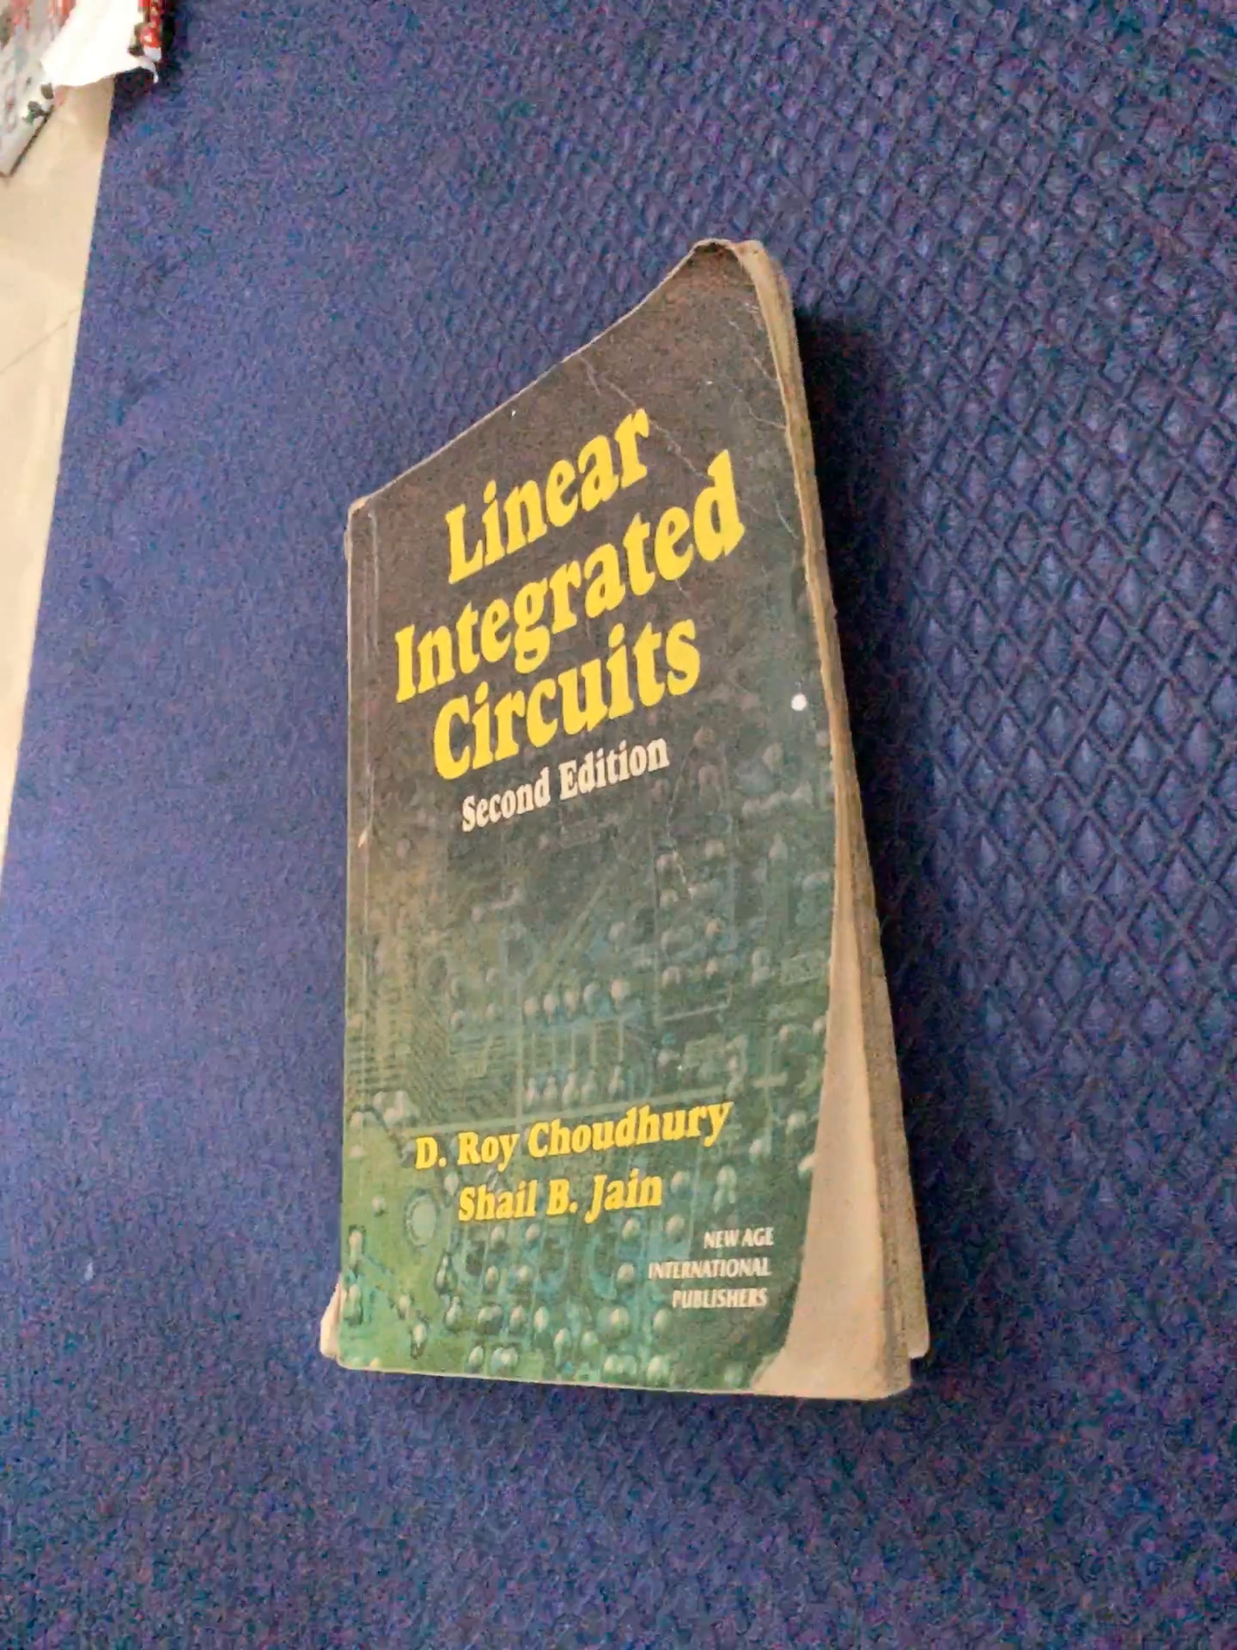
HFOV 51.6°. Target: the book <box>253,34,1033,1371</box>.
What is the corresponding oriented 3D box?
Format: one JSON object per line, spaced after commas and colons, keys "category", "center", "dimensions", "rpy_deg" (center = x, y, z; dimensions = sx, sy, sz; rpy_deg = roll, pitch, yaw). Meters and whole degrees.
{"category": "book", "center": [-0.015, -0.019, 0.316], "dimensions": [0.191, 0.040, 0.271], "rpy_deg": [-17, 68, 40]}
